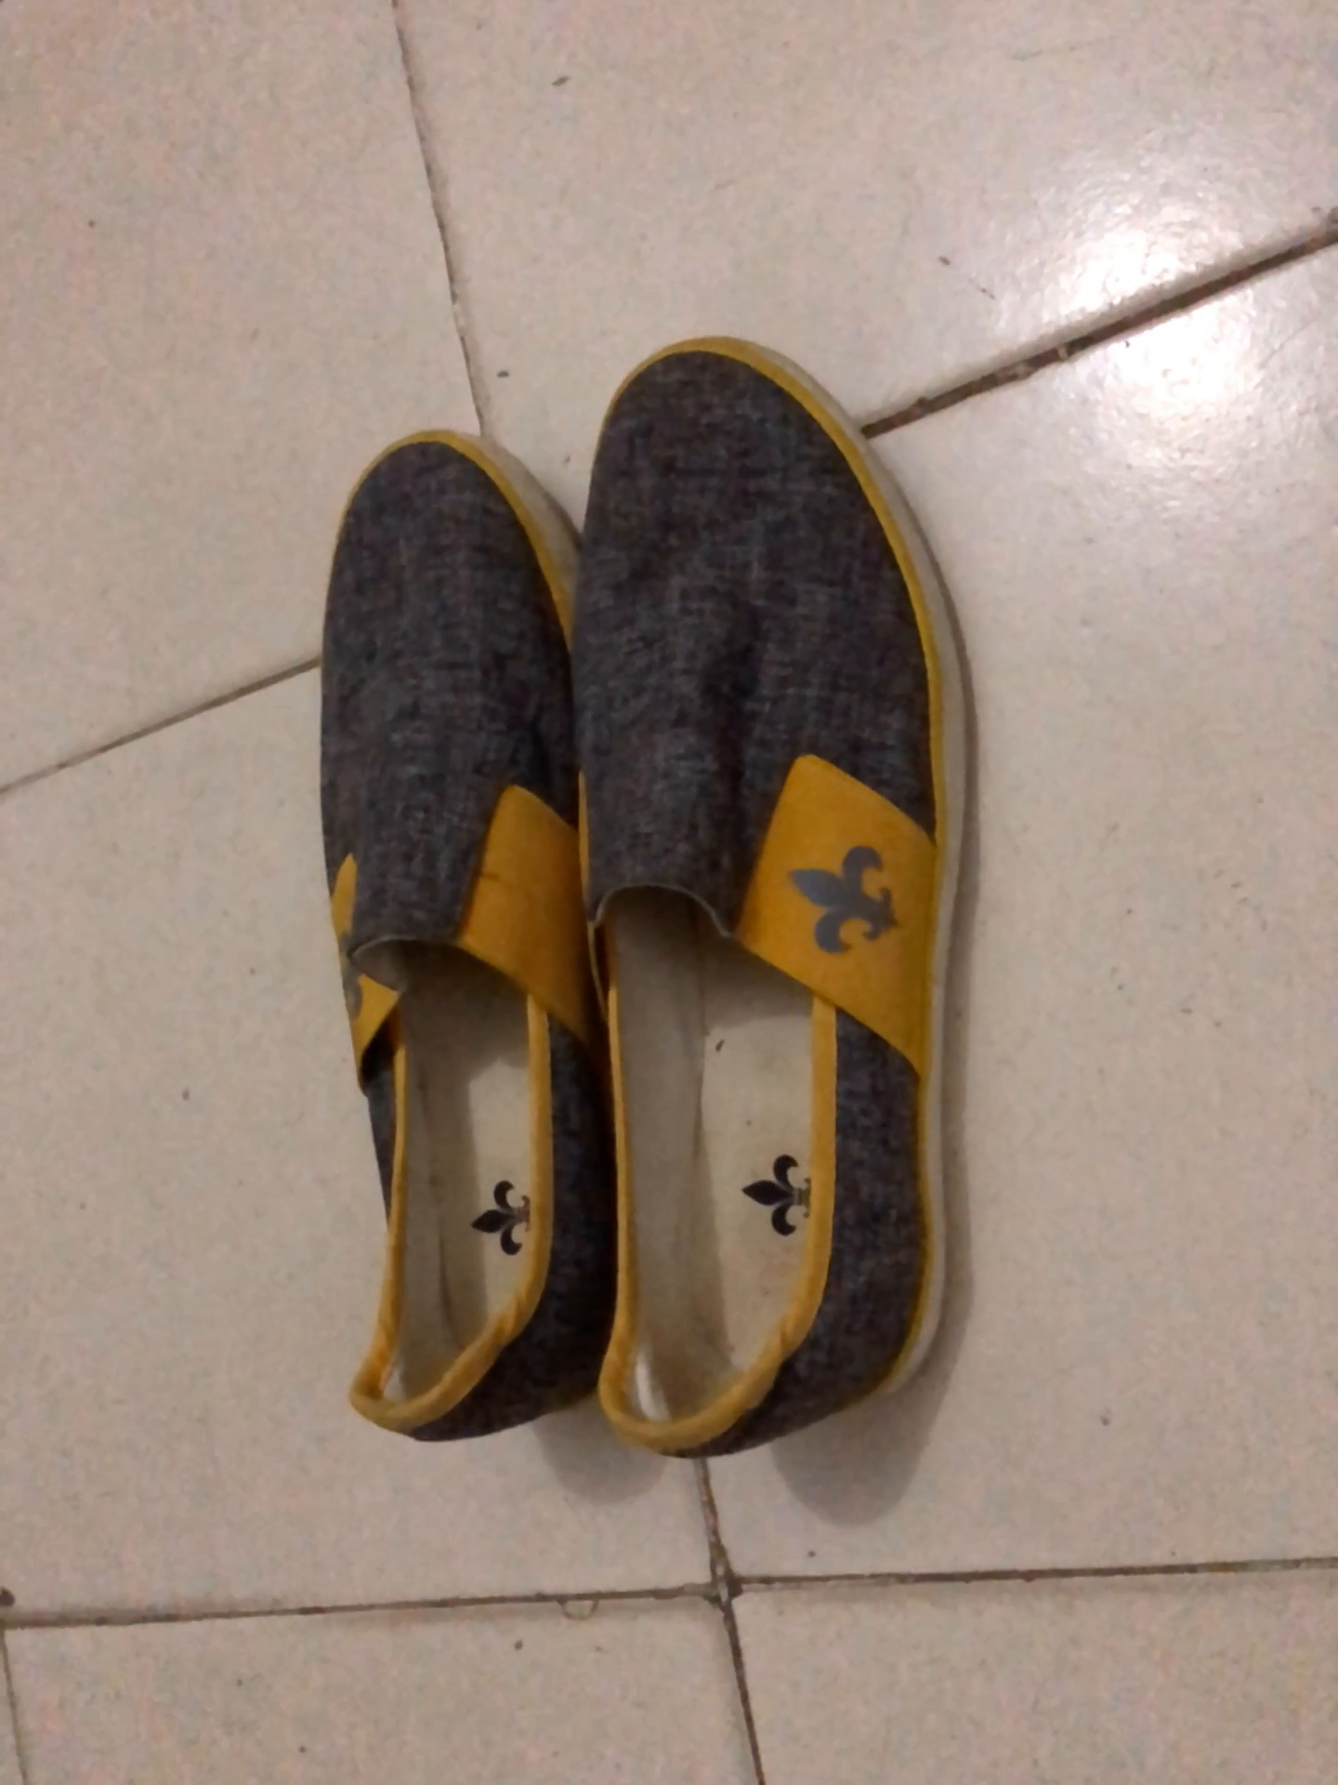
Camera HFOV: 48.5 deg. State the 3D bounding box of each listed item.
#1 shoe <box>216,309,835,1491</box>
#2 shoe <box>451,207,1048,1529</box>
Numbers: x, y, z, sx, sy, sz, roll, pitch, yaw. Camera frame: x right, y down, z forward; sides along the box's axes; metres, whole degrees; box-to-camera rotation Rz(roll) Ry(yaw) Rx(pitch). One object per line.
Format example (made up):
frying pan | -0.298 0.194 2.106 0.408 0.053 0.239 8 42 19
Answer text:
shoe | -0.040 0.006 0.426 0.100 0.100 0.290 -12 82 26
shoe | 0.022 -0.003 0.354 0.090 0.100 0.260 -7 85 27
